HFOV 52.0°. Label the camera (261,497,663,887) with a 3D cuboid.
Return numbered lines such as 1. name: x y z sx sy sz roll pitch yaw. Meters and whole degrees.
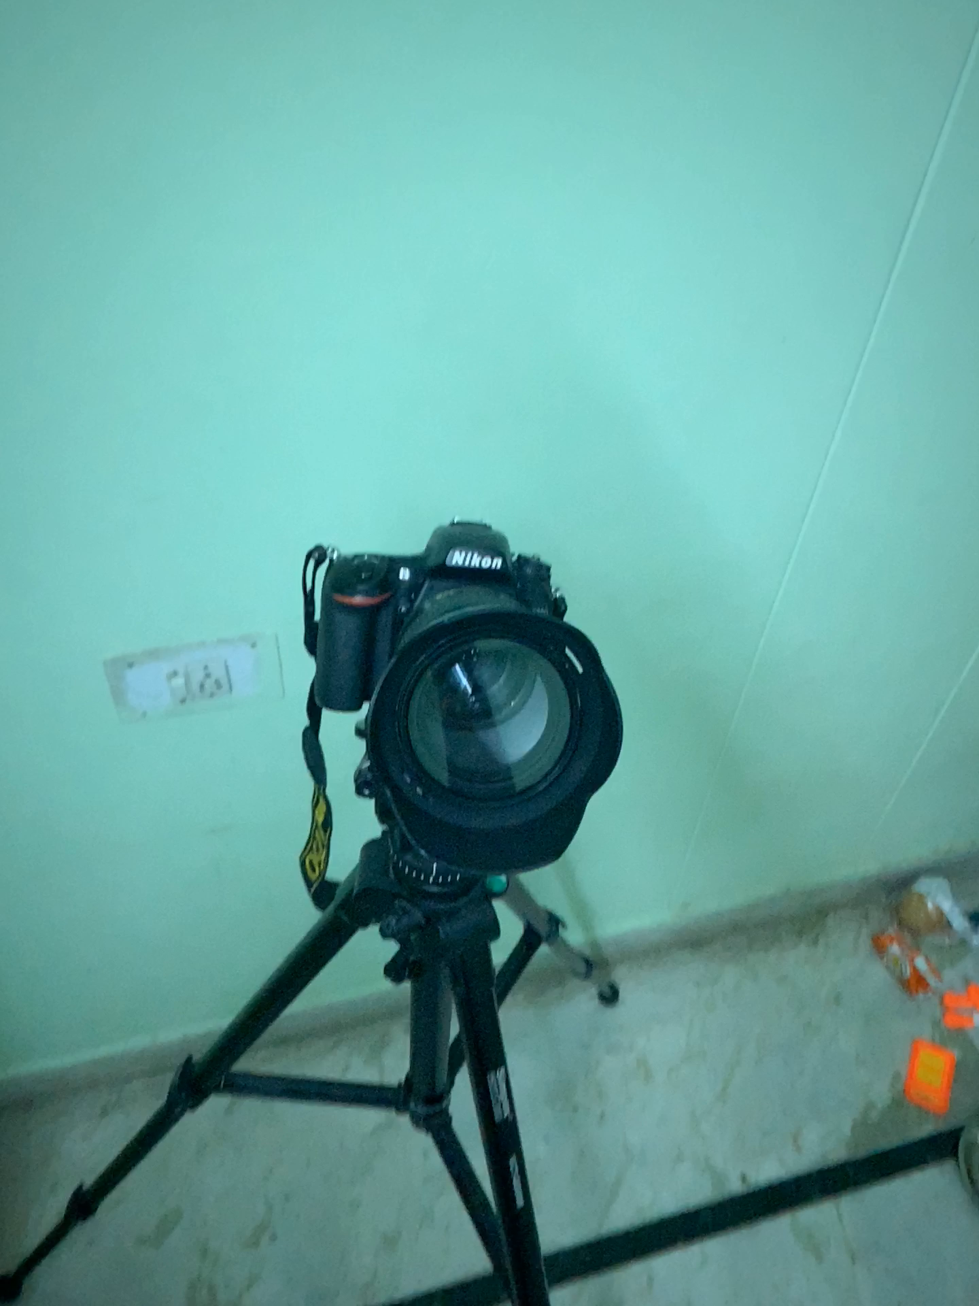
1. camera: -0.022 0.002 0.520 0.151 0.120 0.249 4 16 -5
